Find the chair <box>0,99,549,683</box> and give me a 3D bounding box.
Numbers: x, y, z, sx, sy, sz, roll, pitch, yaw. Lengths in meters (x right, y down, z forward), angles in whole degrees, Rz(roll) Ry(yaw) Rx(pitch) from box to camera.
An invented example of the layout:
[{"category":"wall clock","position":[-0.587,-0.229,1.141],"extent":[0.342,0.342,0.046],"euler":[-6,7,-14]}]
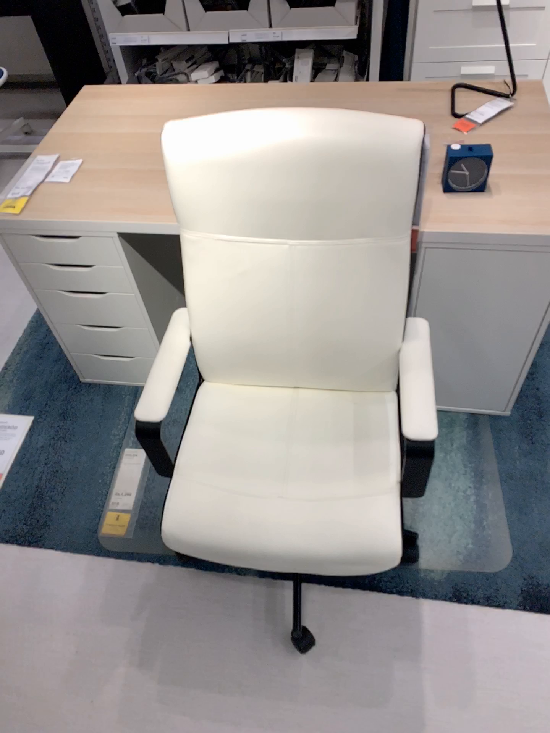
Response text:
[{"category":"chair","position":[-0.005,0.109,1.128],"extent":[0.690,0.957,0.702],"euler":[3,52,9]}]
